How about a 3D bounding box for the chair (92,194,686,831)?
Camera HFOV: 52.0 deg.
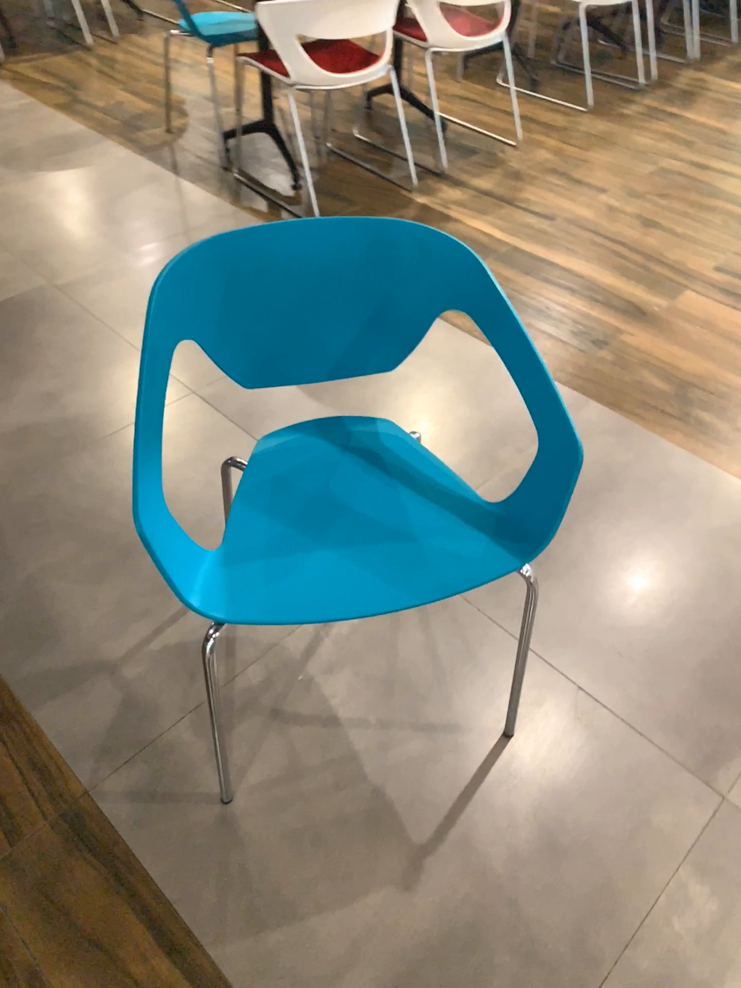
[{"bbox_3d":[-0.038,0.028,1.213,0.610,0.724,0.595,-9,46,-11],"label":"chair"}]
